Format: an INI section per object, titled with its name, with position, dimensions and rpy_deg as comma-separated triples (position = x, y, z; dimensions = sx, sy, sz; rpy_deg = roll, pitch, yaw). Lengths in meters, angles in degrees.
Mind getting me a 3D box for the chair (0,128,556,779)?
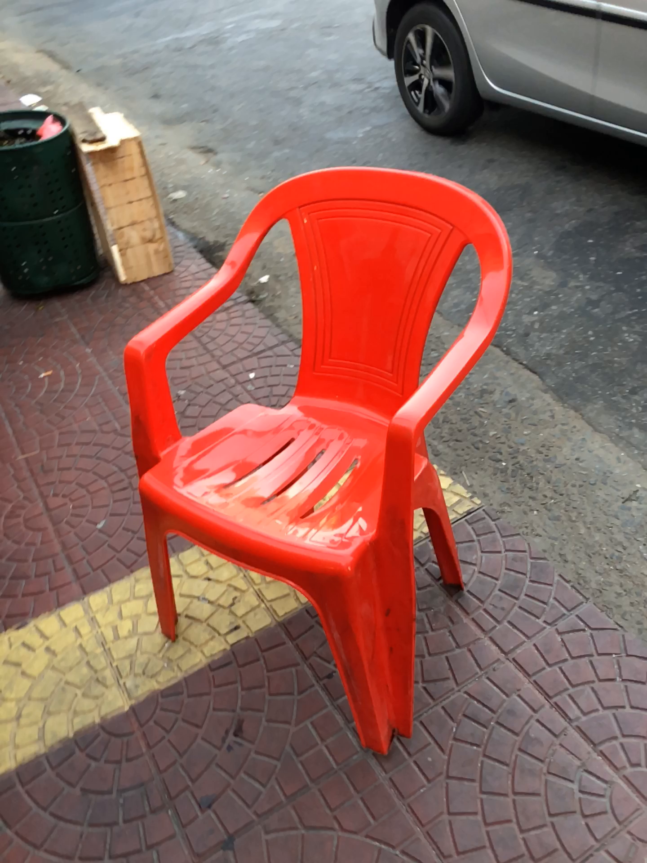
[chair]
position = -0.029, 0.018, 1.188
dimensions = 0.571, 0.794, 0.543
rpy_deg = 19, 46, 27
